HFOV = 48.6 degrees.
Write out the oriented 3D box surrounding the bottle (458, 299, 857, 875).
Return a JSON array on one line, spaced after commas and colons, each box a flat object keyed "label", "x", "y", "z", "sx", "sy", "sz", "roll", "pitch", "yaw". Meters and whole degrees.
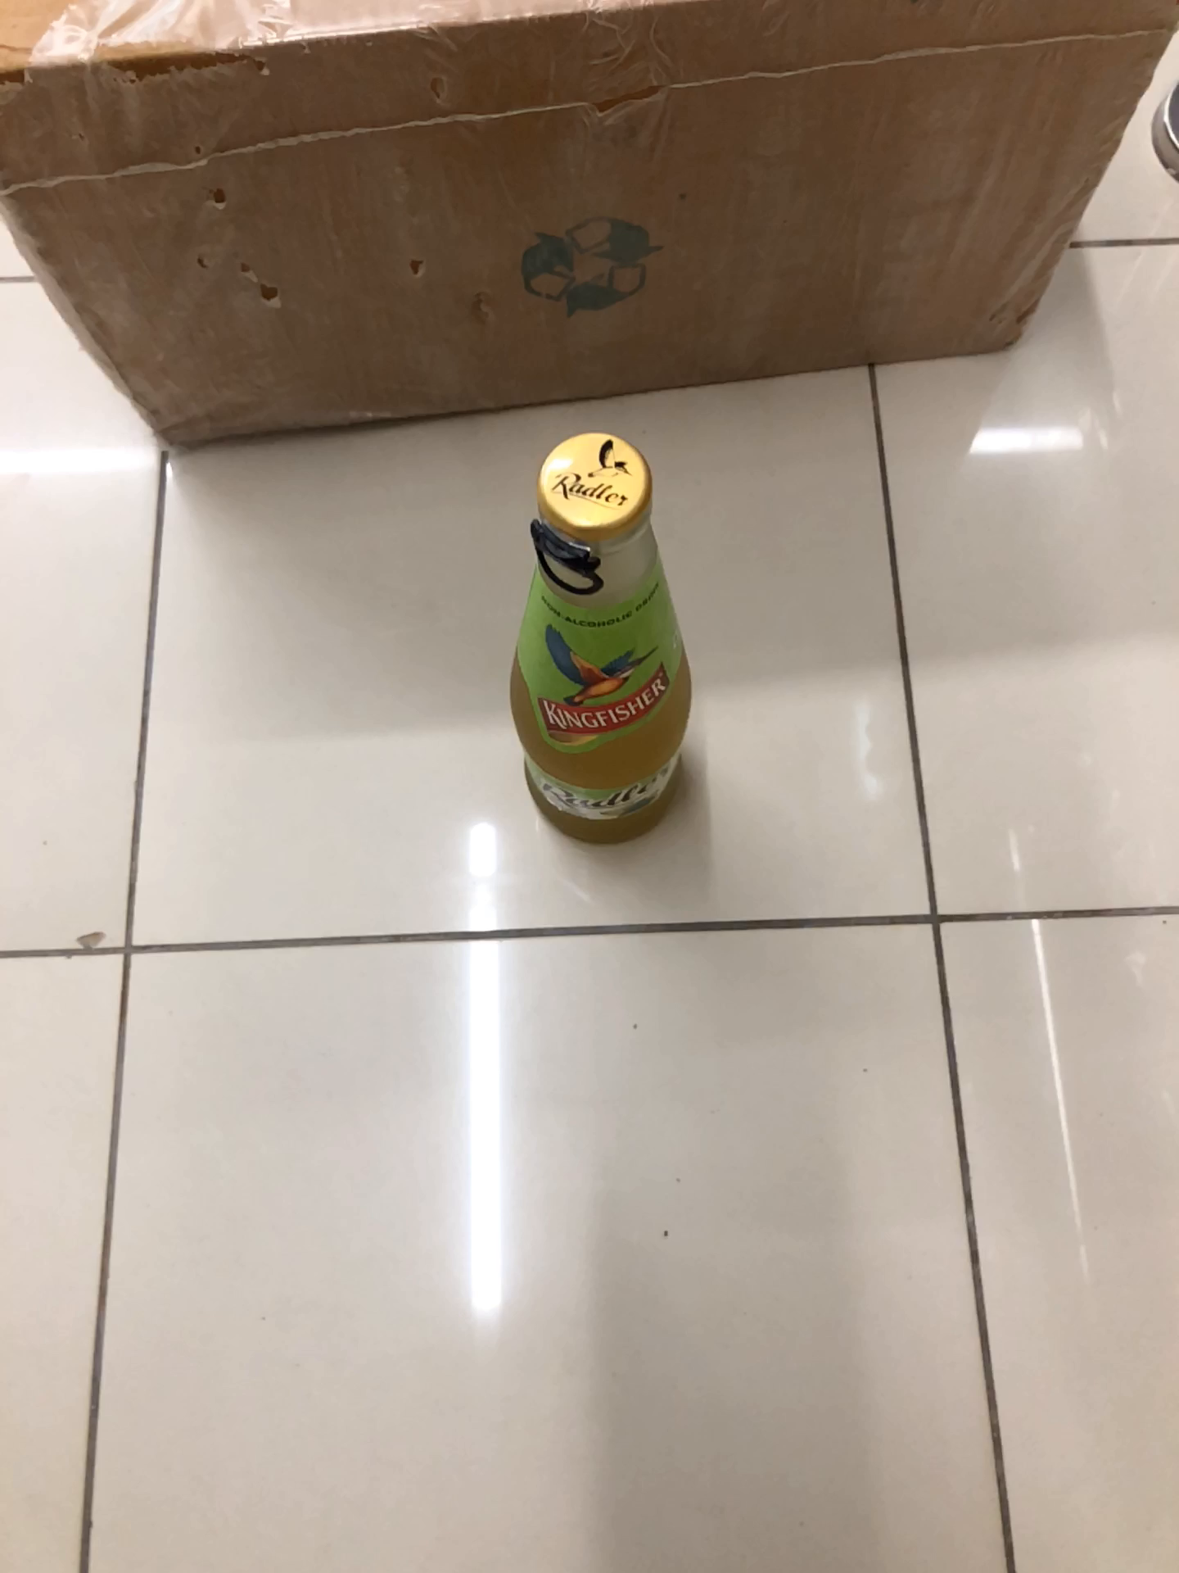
[{"label": "bottle", "x": 0.014, "y": -0.040, "z": 0.381, "sx": 0.080, "sy": 0.200, "sz": 0.080, "roll": 0, "pitch": 72, "yaw": 1}]
